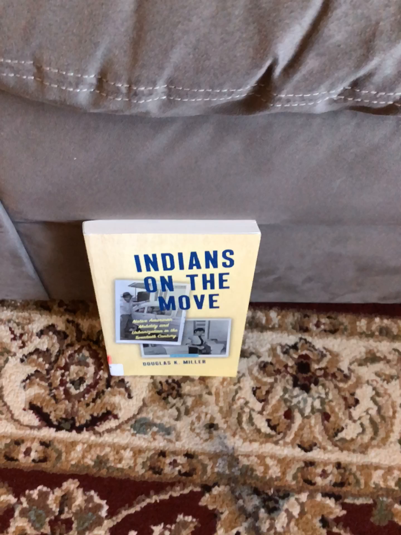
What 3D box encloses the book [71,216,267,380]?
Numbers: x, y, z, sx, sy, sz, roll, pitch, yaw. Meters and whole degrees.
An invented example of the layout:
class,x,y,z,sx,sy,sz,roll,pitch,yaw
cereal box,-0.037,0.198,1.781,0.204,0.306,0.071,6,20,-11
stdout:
class,x,y,z,sx,sy,sz,roll,pitch,yaw
book,-0.027,0.045,0.459,0.160,0.230,0.030,0,47,-1
